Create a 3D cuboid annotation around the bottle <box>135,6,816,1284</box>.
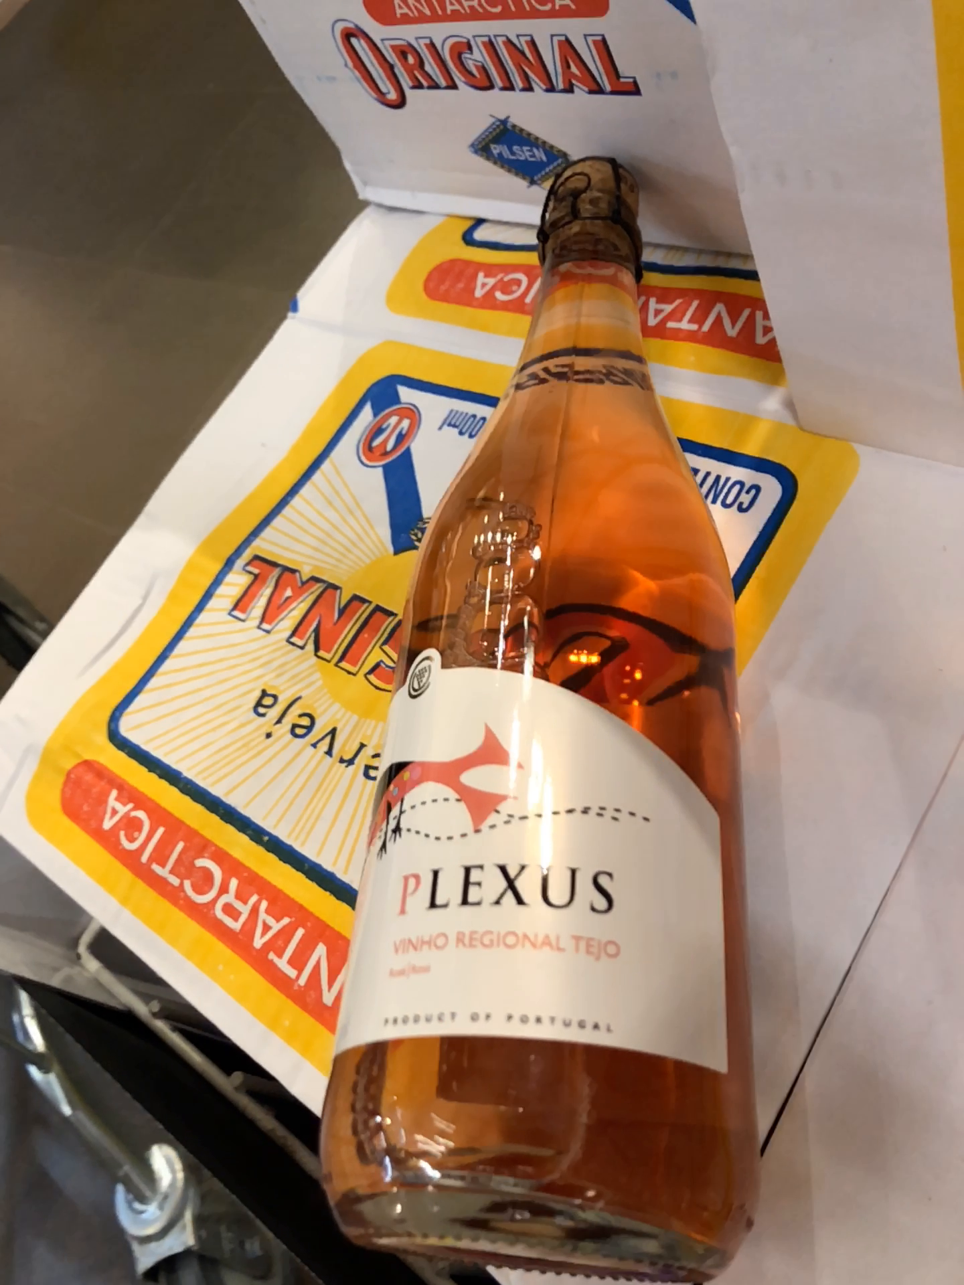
[{"bbox_3d":[0.015,-0.022,0.251,0.090,0.070,0.291,-9,55,23],"label":"bottle"}]
